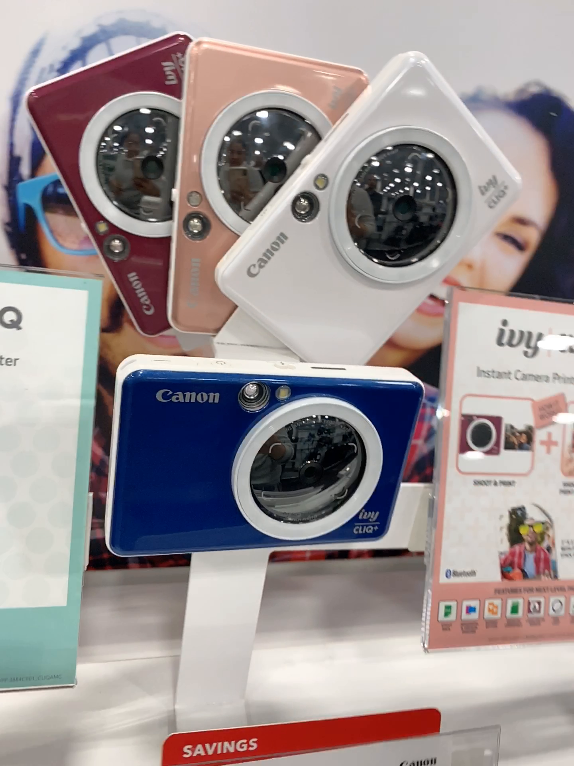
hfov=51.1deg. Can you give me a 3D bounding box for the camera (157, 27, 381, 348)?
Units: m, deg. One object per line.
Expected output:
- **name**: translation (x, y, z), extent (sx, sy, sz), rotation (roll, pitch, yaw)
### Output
- **camera**: translation (-0.012, -0.078, 0.263), extent (0.078, 0.119, 0.028), rotation (1, 23, -19)

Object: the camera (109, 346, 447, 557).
- **camera**: translation (-0.005, 0.026, 0.235), extent (0.120, 0.070, 0.028), rotation (2, 23, -19)

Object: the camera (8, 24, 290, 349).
- **camera**: translation (-0.054, -0.082, 0.263), extent (0.078, 0.110, 0.028), rotation (-24, 30, -7)

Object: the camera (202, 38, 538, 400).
- **camera**: translation (0.034, -0.064, 0.254), extent (0.078, 0.120, 0.028), rotation (38, 7, -24)
